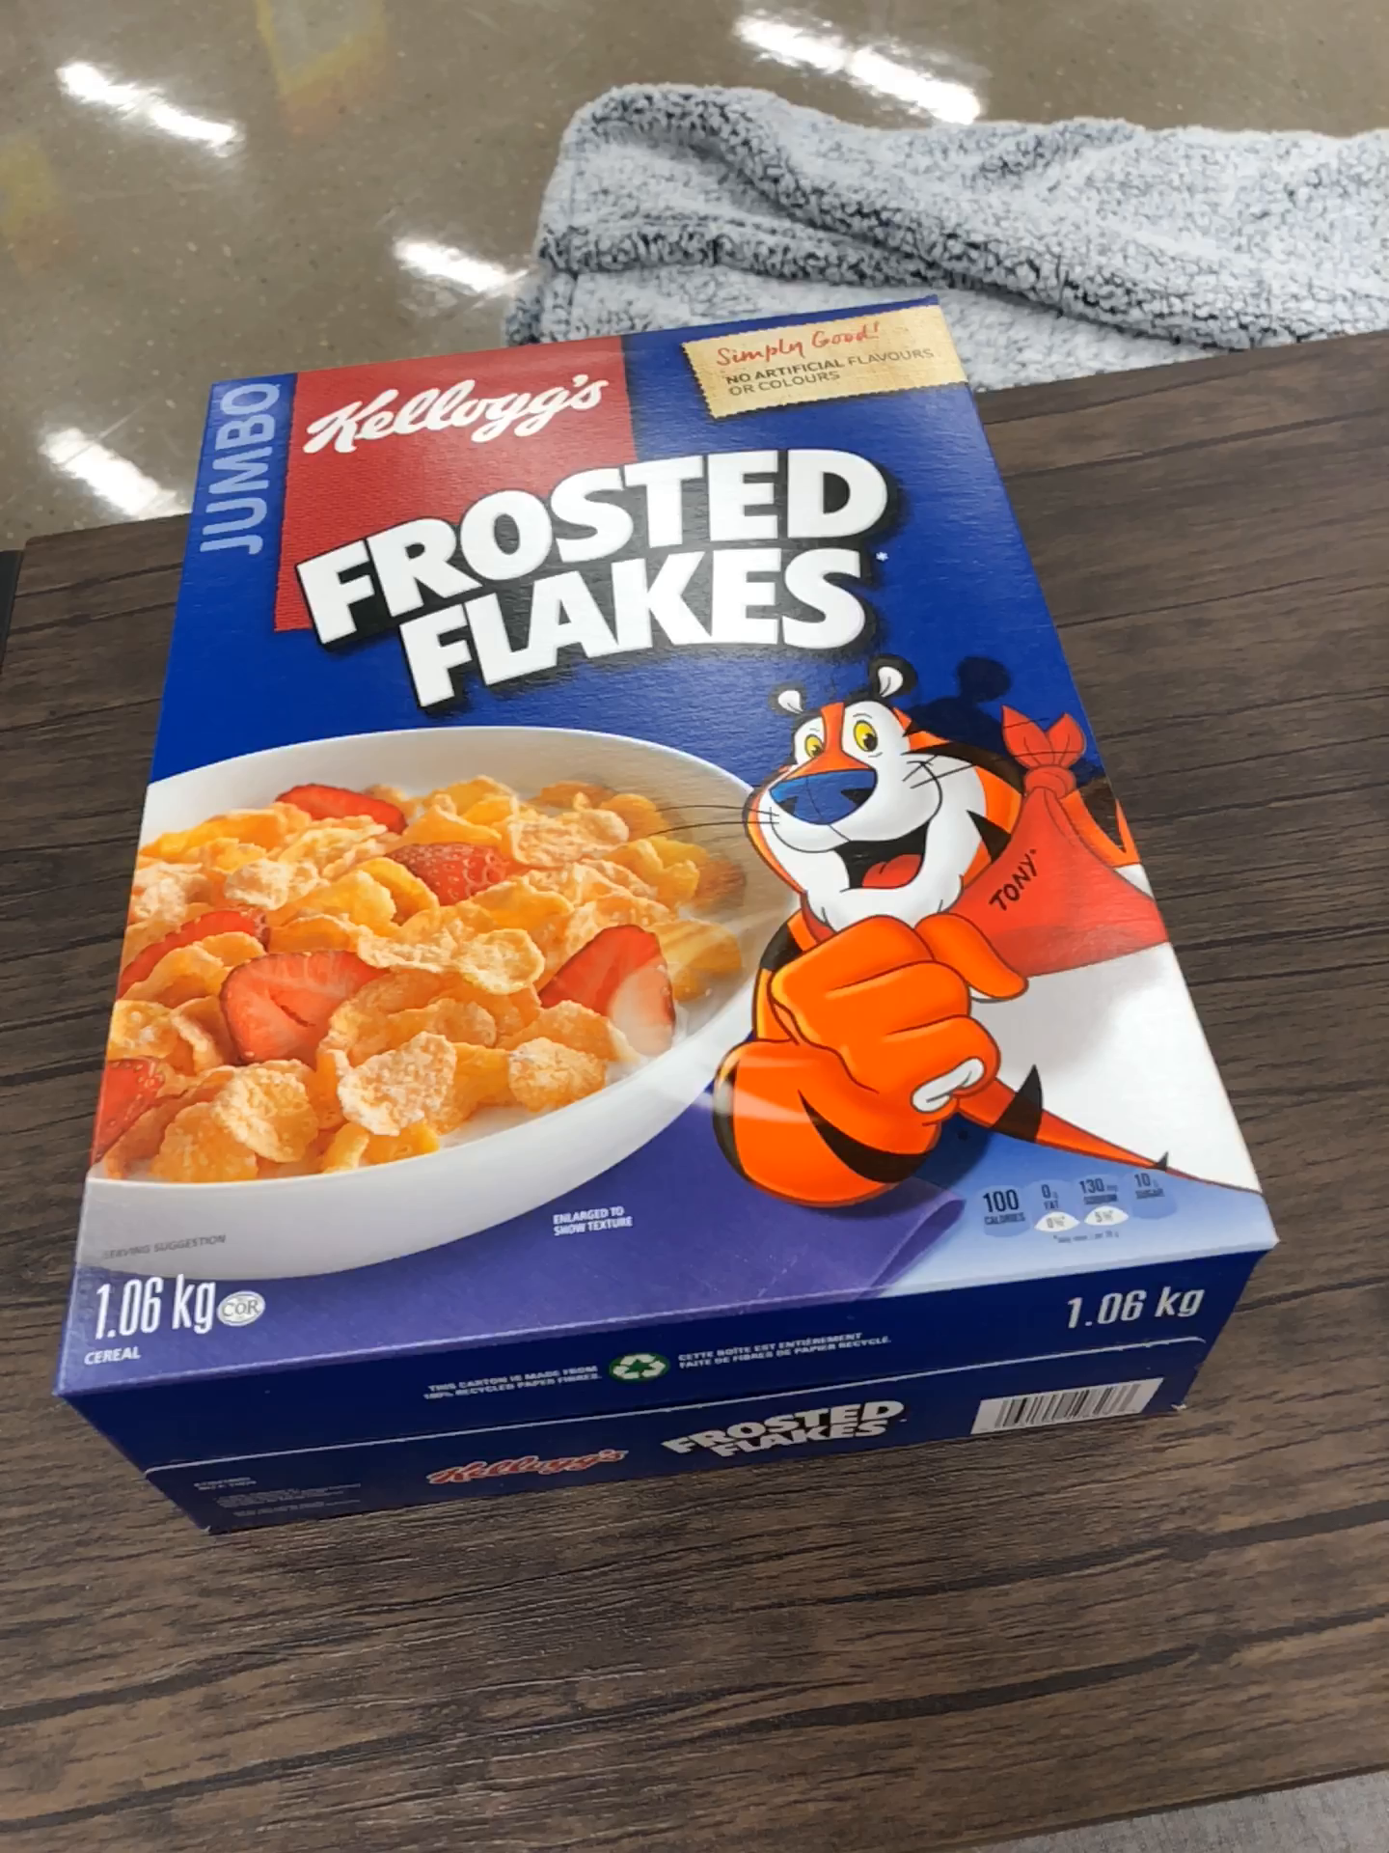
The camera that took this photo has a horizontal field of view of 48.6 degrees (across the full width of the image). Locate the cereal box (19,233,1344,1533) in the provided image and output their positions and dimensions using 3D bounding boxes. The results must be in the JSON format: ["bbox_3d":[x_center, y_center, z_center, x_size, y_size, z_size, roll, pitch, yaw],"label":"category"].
[{"bbox_3d":[-0.015,-0.044,0.443,0.250,0.100,0.371,-6,52,0],"label":"cereal box"}]
